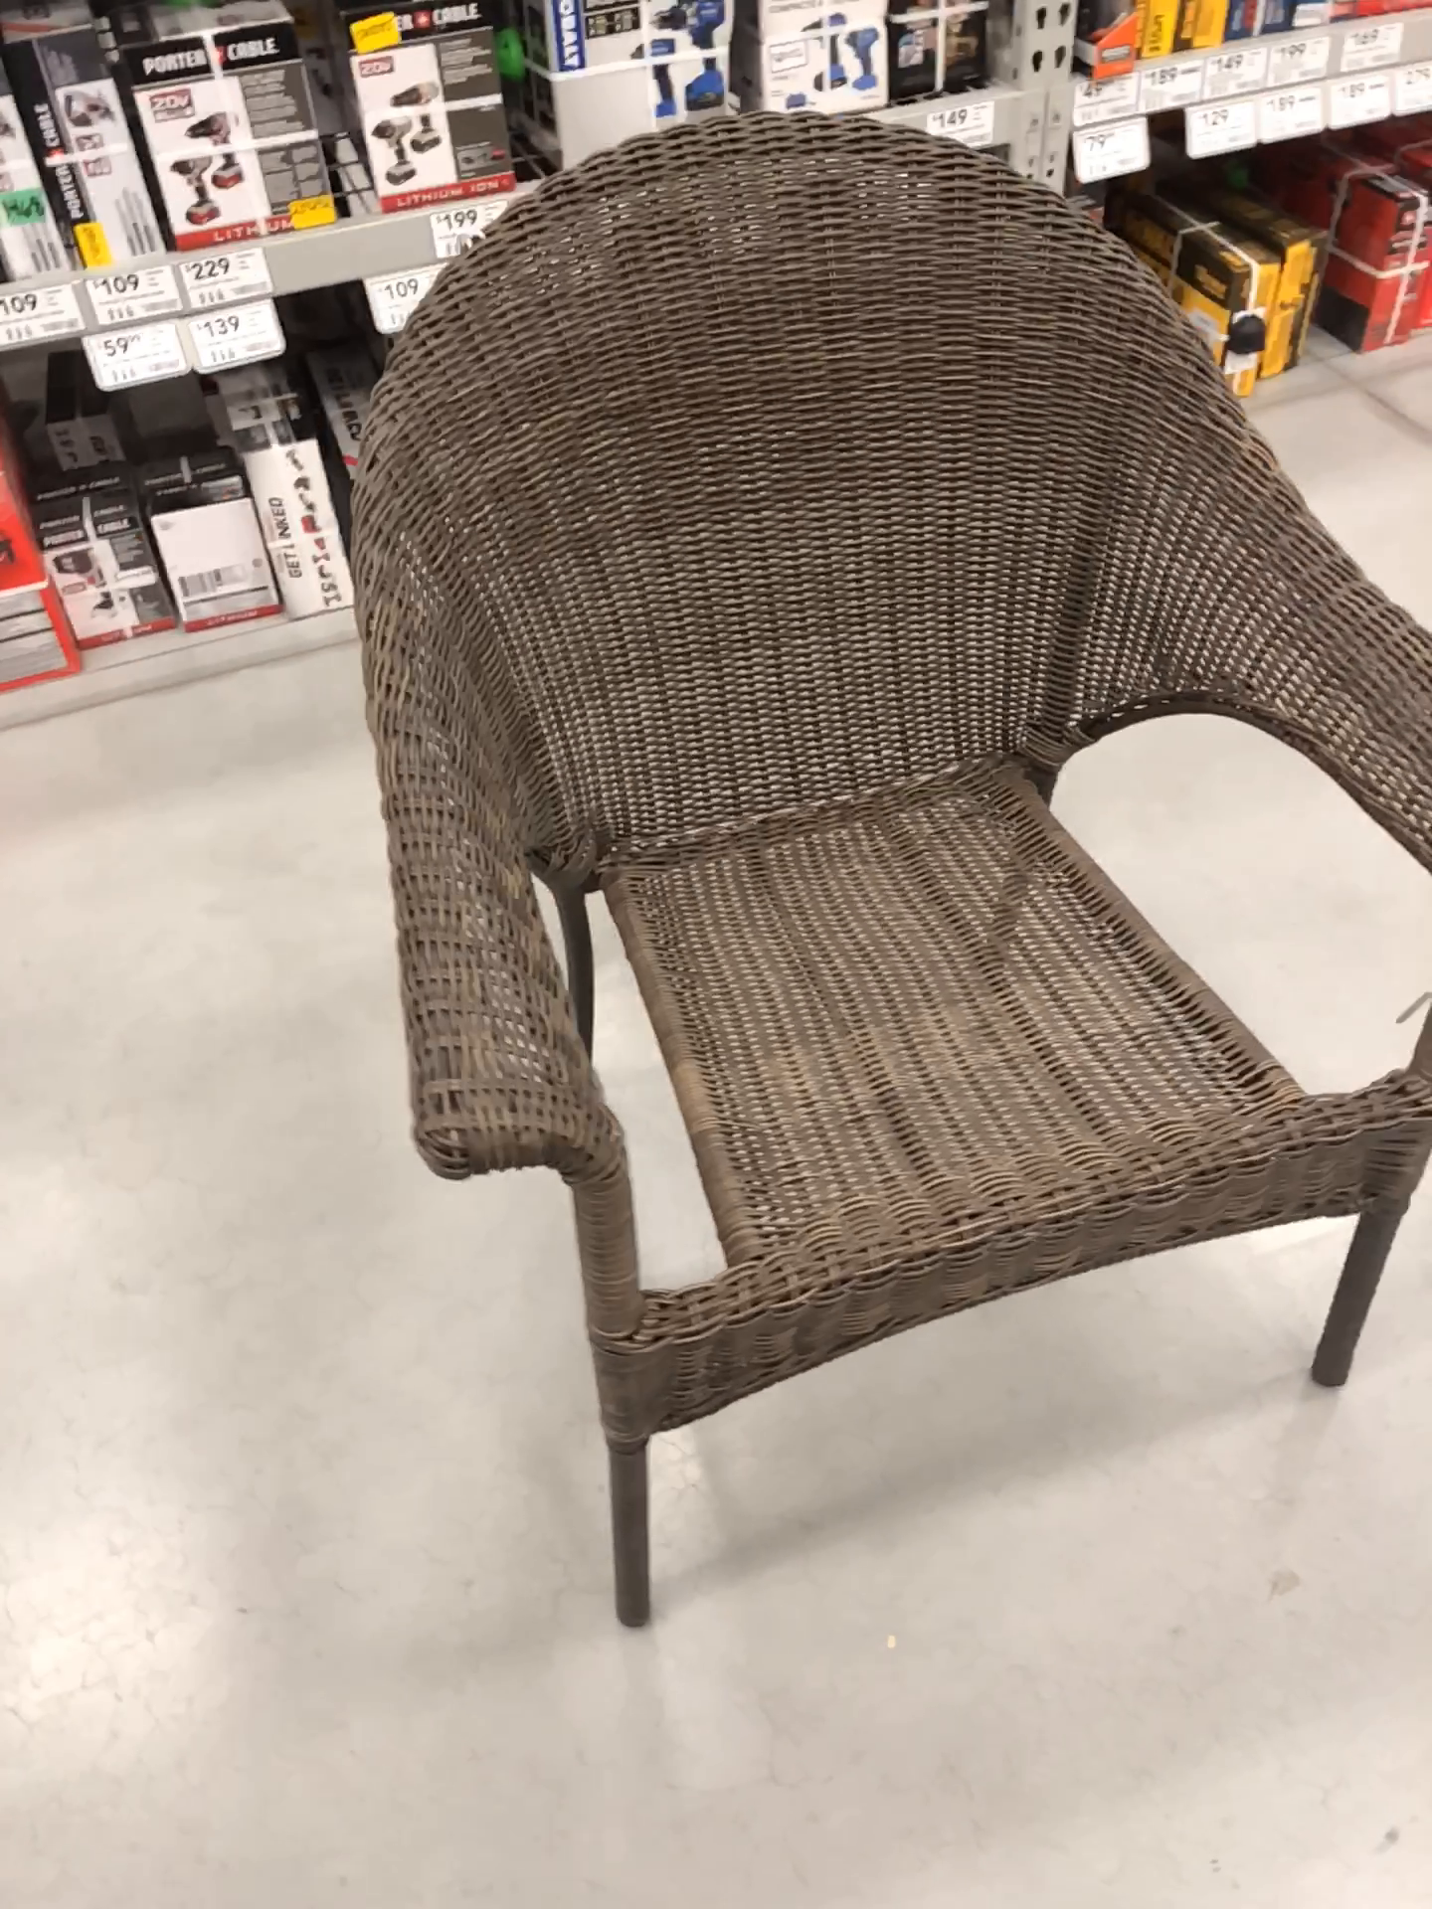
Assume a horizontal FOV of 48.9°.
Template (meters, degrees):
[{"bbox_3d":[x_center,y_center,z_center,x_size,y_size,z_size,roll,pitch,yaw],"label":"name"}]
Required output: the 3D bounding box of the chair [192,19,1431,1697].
[{"bbox_3d":[0.123,-0.093,1.169,0.720,0.797,0.763,-15,47,-11],"label":"chair"}]
